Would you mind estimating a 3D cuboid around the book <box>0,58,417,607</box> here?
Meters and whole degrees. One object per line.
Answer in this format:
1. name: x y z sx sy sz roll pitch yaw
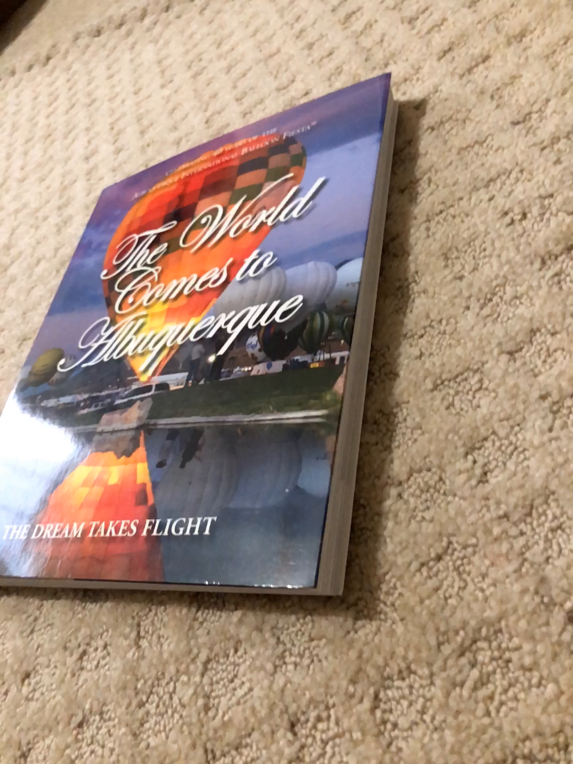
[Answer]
1. book: -0.047 -0.031 0.308 0.204 0.023 0.258 -10 53 31
